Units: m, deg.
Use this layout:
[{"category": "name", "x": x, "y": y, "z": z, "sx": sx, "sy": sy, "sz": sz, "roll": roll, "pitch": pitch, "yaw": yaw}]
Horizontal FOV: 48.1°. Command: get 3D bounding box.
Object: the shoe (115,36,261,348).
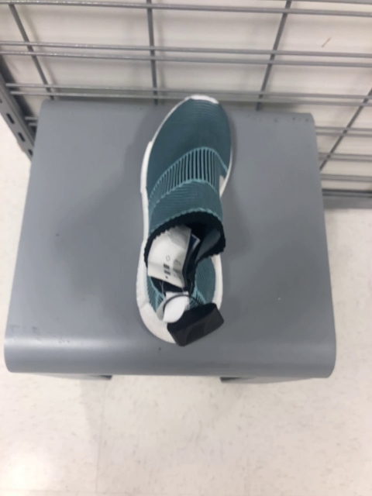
[{"category": "shoe", "x": 0.007, "y": -0.054, "z": 0.451, "sx": 0.120, "sy": 0.130, "sz": 0.300, "roll": 4, "pitch": 71, "yaw": -3}]
